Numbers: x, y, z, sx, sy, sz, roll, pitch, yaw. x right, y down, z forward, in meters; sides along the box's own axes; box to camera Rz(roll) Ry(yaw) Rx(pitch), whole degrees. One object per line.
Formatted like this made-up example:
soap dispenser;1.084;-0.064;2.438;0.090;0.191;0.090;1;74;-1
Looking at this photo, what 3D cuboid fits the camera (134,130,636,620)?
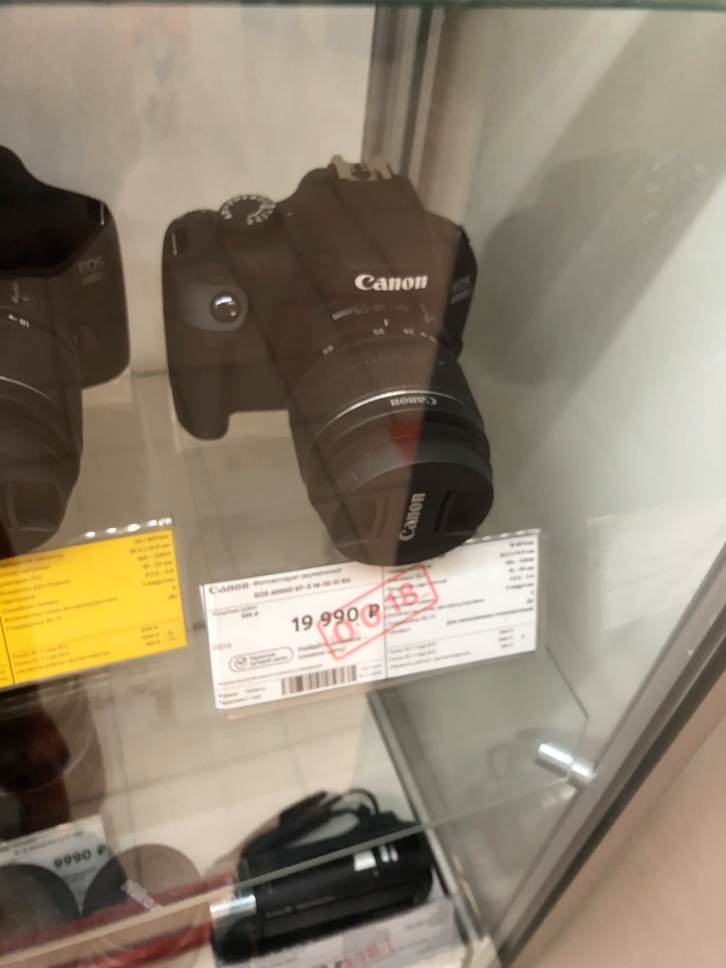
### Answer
camera;-0.008;-0.050;0.299;0.125;0.099;0.147;-8;46;-17
